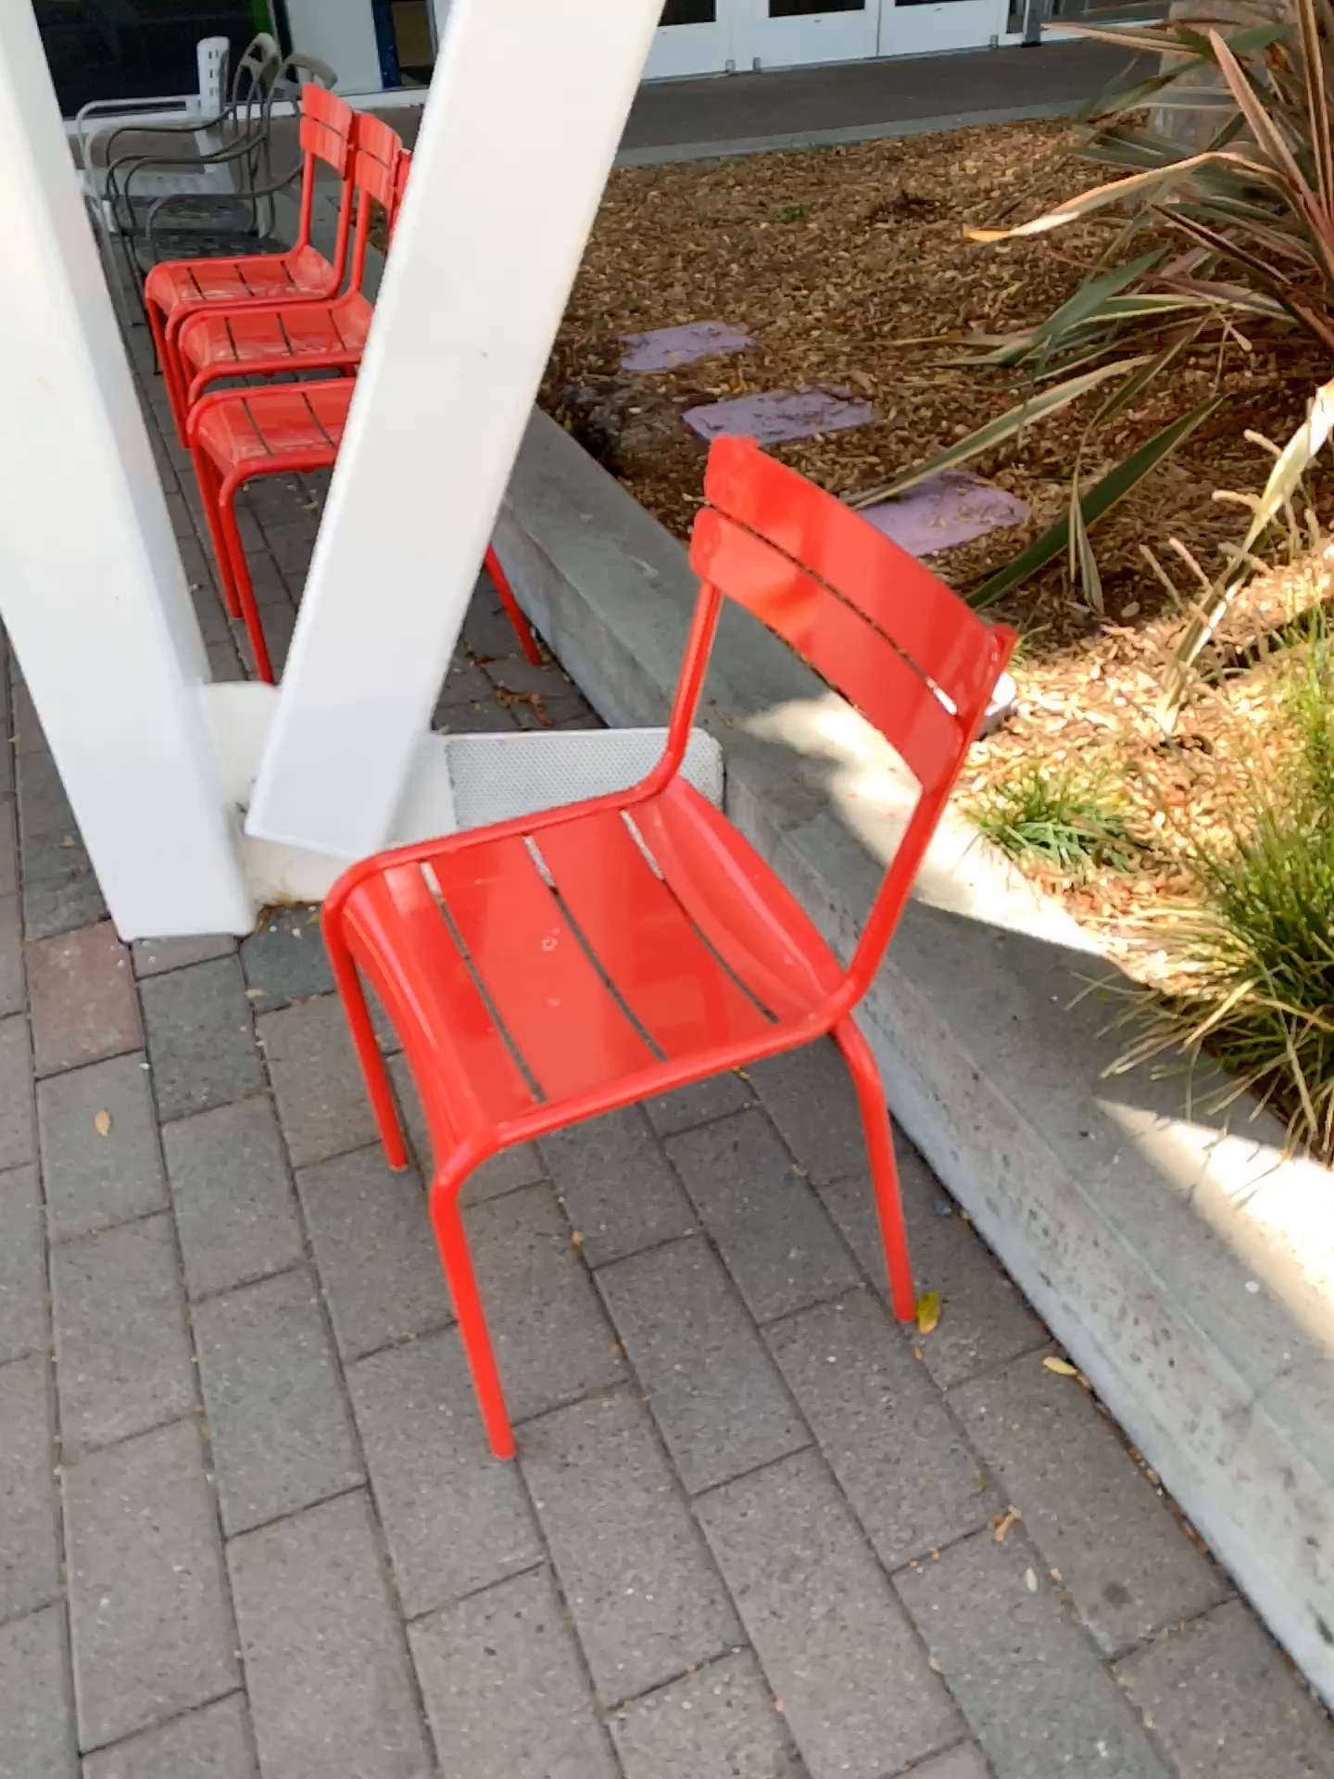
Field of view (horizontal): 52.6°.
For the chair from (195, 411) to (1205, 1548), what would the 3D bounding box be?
[{"bbox_3d":[-0.007,0.061,1.331,0.630,0.785,0.584,-16,40,-18],"label":"chair"}]
